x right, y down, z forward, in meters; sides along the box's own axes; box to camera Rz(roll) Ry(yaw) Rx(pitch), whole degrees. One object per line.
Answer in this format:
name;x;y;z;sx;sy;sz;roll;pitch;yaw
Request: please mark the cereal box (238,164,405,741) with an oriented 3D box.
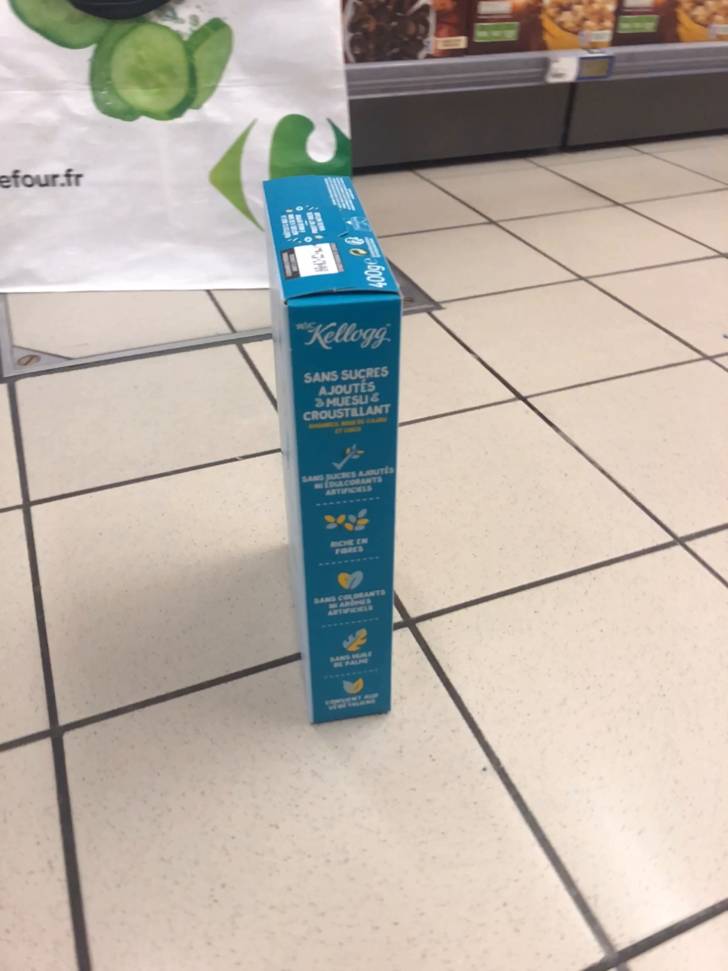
cereal box;-0.025;-0.016;0.405;0.050;0.239;0.161;-5;36;-8
